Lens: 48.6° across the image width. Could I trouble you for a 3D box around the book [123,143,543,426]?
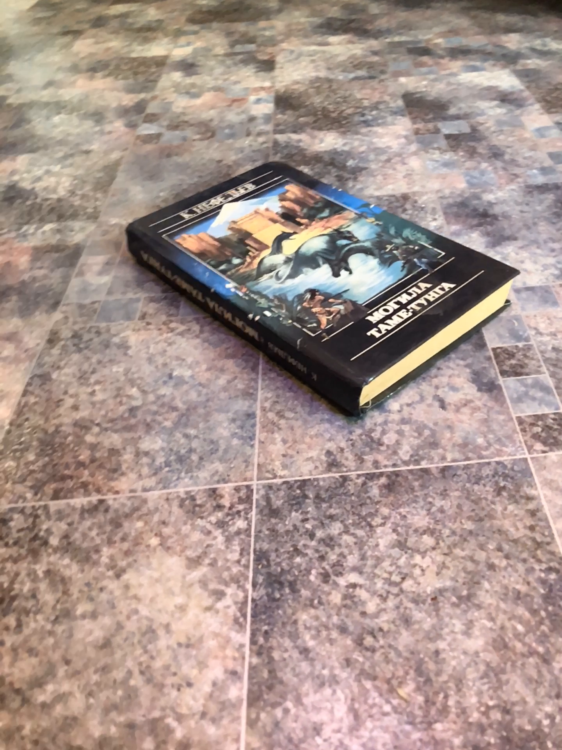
[{"bbox_3d":[0.023,-0.071,0.368,0.139,0.030,0.202,-32,51,-28],"label":"book"}]
